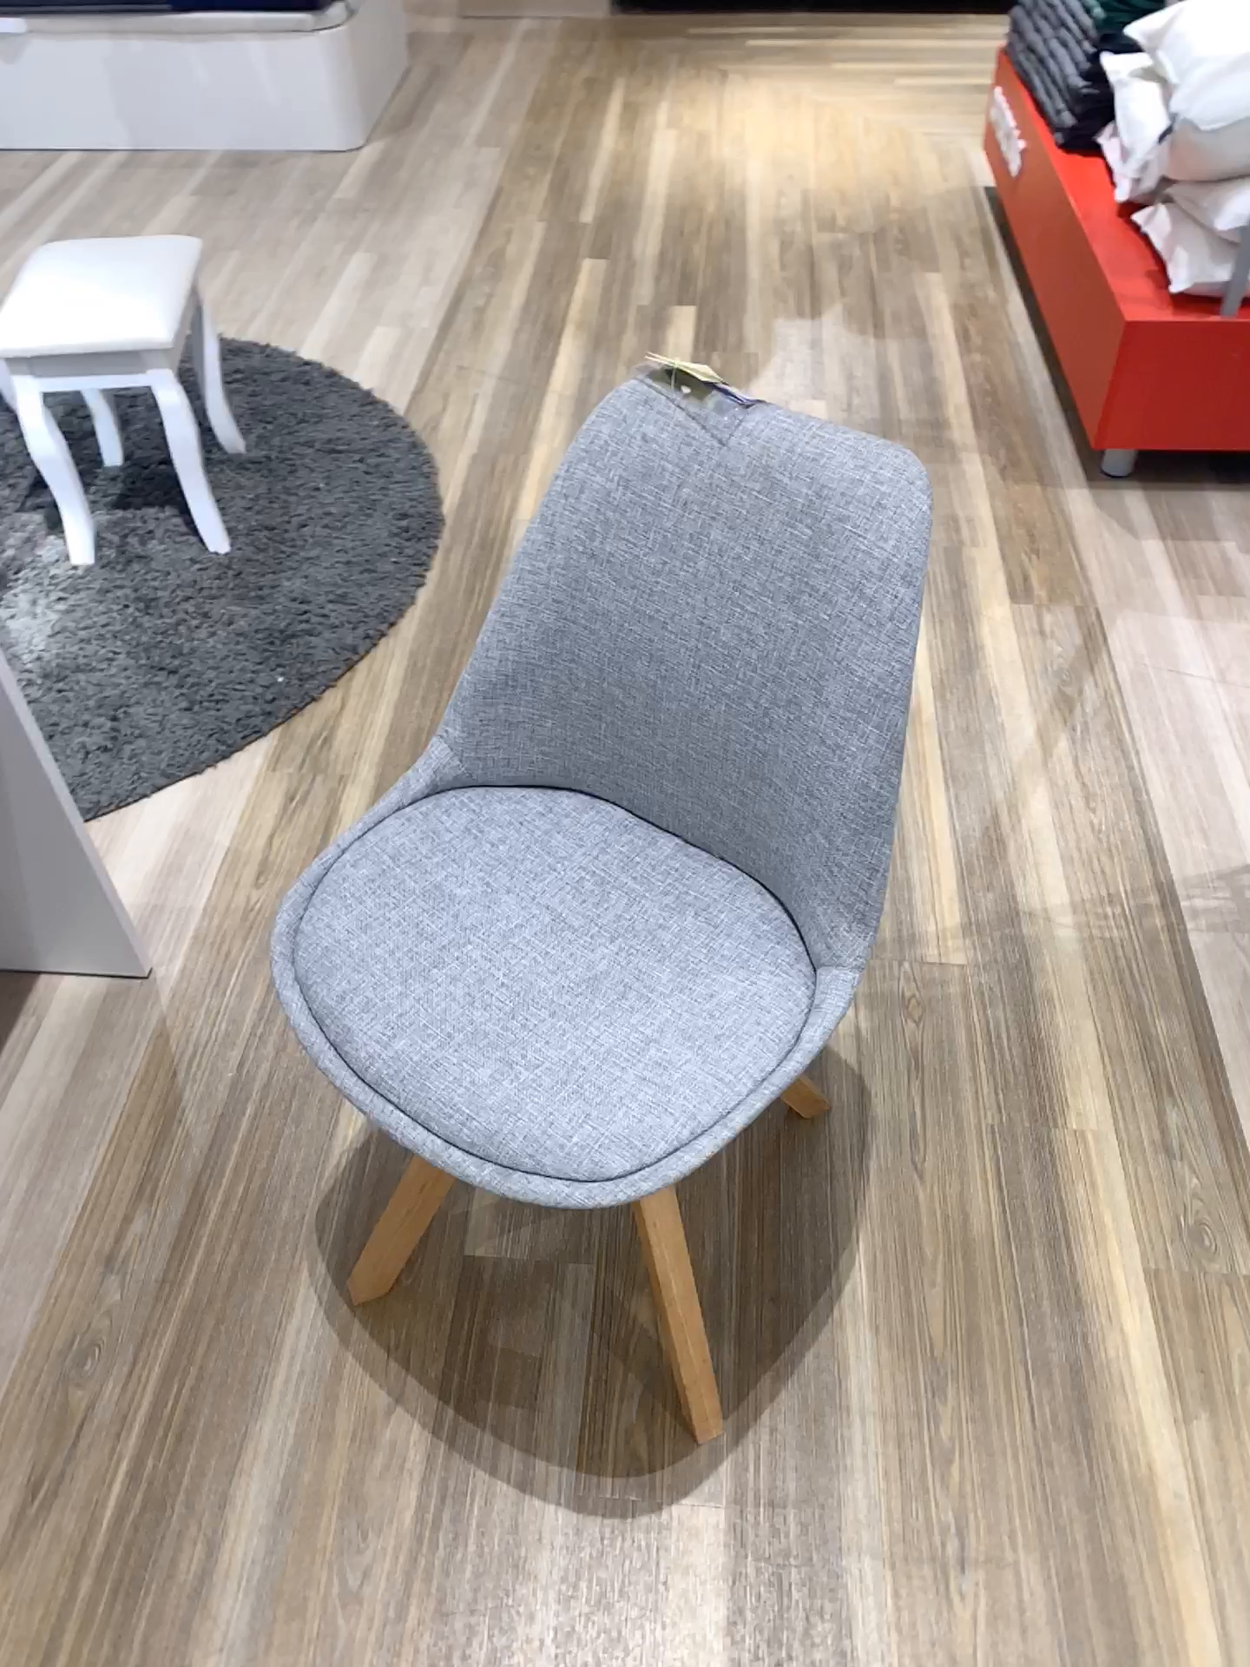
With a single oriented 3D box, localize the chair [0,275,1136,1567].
[{"bbox_3d":[-0.024,0.104,1.091,0.514,0.856,0.517,27,53,25],"label":"chair"}]
